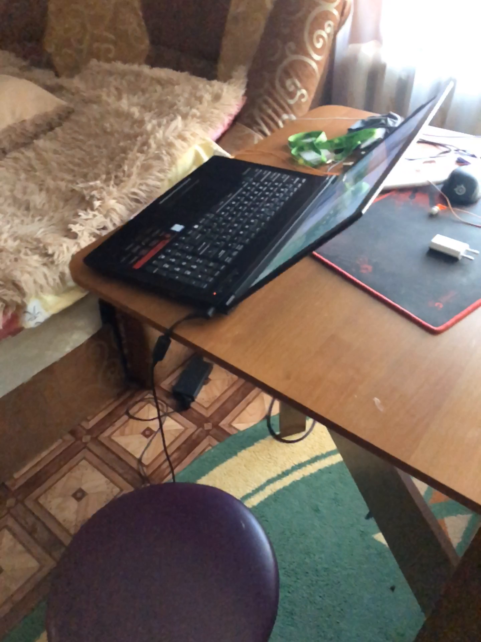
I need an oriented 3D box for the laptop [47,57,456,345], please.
[{"bbox_3d":[0.031,-0.209,0.753,0.409,0.174,0.375,19,47,23],"label":"laptop"}]
